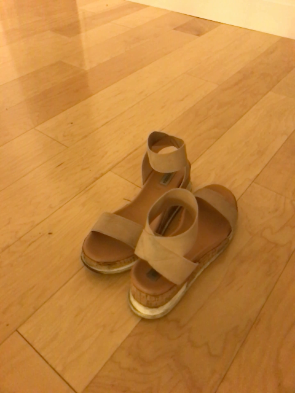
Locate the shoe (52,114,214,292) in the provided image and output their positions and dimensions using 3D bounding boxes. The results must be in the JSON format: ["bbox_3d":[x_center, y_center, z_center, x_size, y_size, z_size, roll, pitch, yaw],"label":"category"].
[{"bbox_3d":[-0.005,-0.007,0.501,0.100,0.109,0.272,24,50,22],"label":"shoe"}]

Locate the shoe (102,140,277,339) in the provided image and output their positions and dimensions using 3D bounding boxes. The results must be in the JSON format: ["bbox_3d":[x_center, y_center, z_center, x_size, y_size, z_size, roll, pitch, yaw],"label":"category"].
[{"bbox_3d":[0.069,0.043,0.449,0.090,0.109,0.271,30,52,26],"label":"shoe"}]
